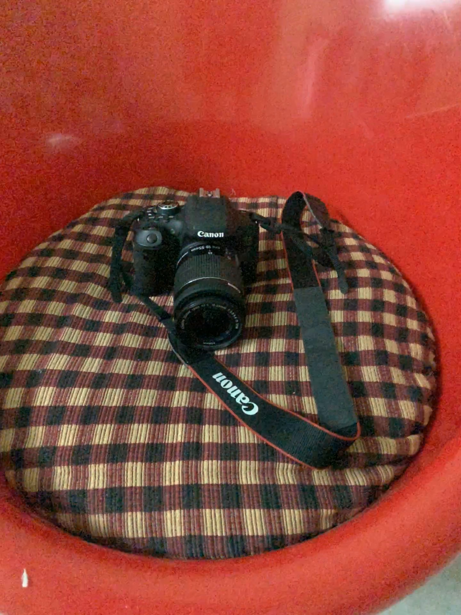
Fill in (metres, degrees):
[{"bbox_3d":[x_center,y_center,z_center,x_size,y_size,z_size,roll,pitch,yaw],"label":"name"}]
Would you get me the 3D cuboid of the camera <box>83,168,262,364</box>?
[{"bbox_3d":[-0.049,-0.041,0.465,0.140,0.129,0.139,1,46,-2],"label":"camera"}]
